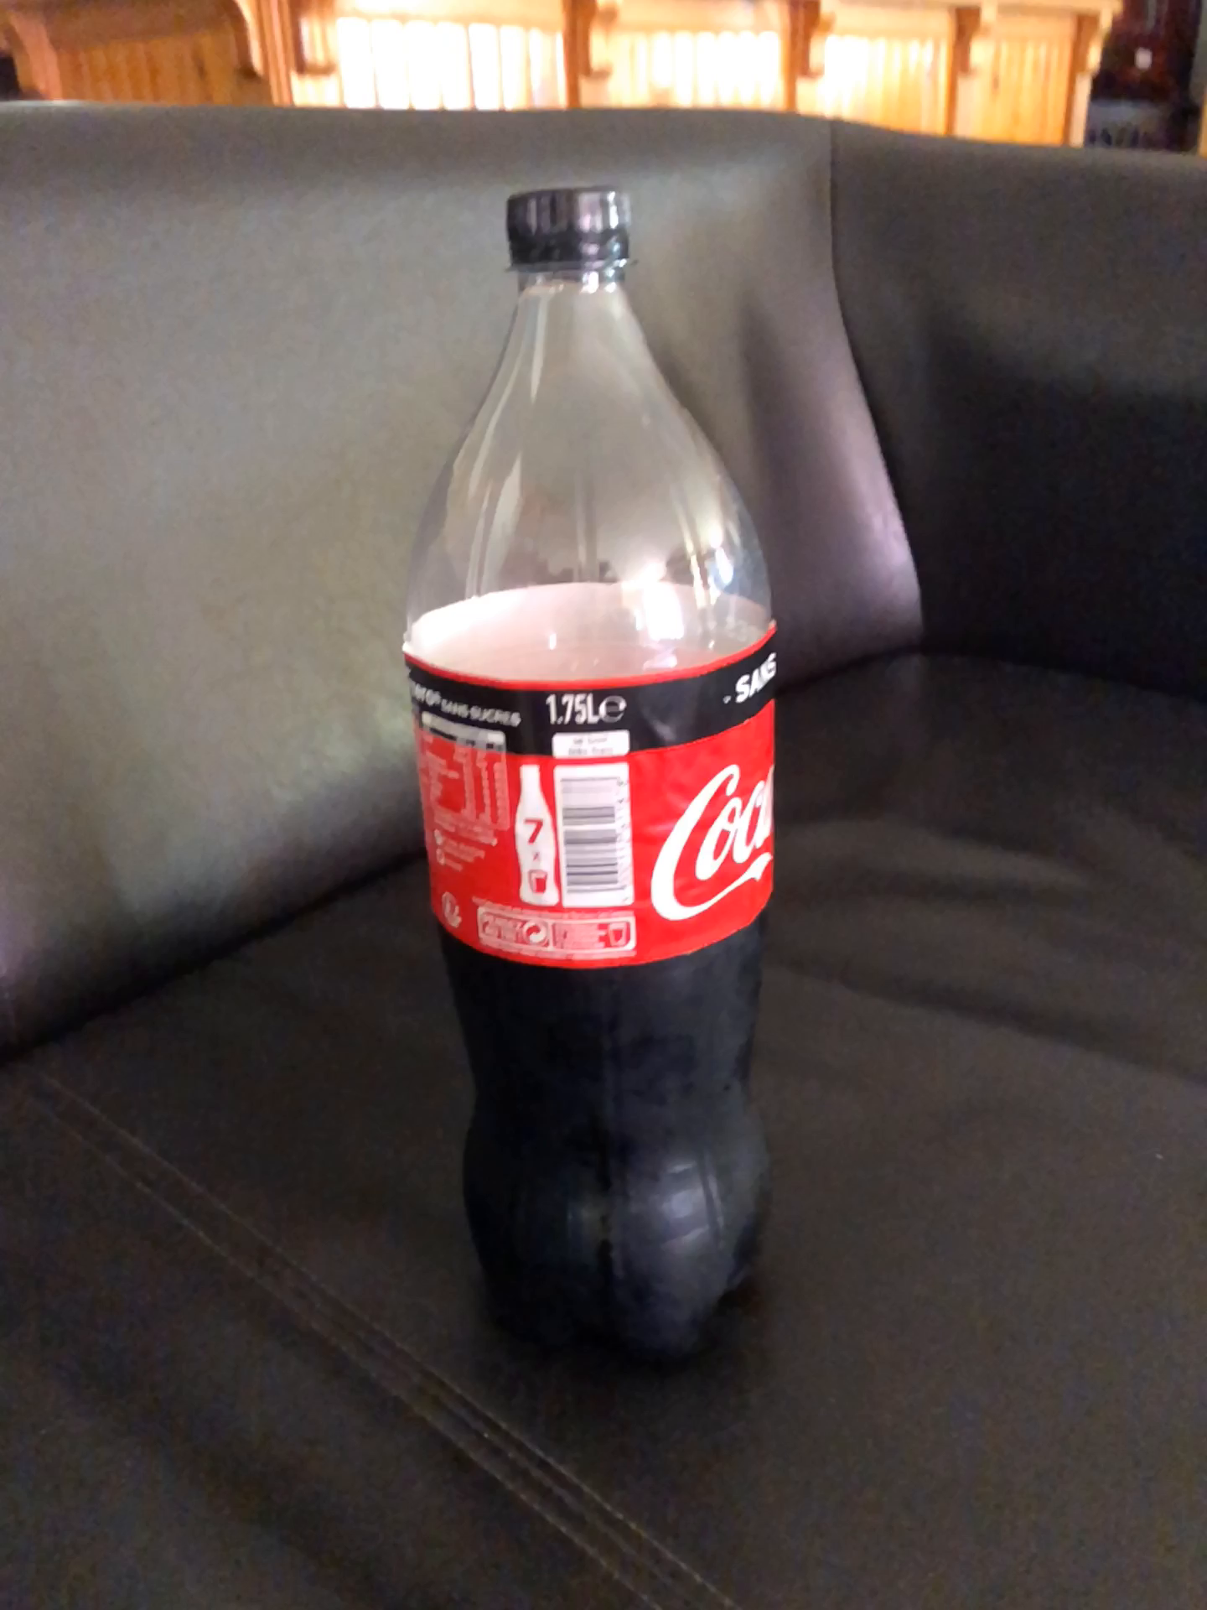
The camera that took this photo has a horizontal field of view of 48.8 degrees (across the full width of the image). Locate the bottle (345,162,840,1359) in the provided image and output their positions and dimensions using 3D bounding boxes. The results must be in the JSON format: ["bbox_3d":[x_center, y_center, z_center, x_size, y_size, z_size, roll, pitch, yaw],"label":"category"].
[{"bbox_3d":[0.000,-0.003,0.378,0.100,0.318,0.101,-1,23,0],"label":"bottle"}]
